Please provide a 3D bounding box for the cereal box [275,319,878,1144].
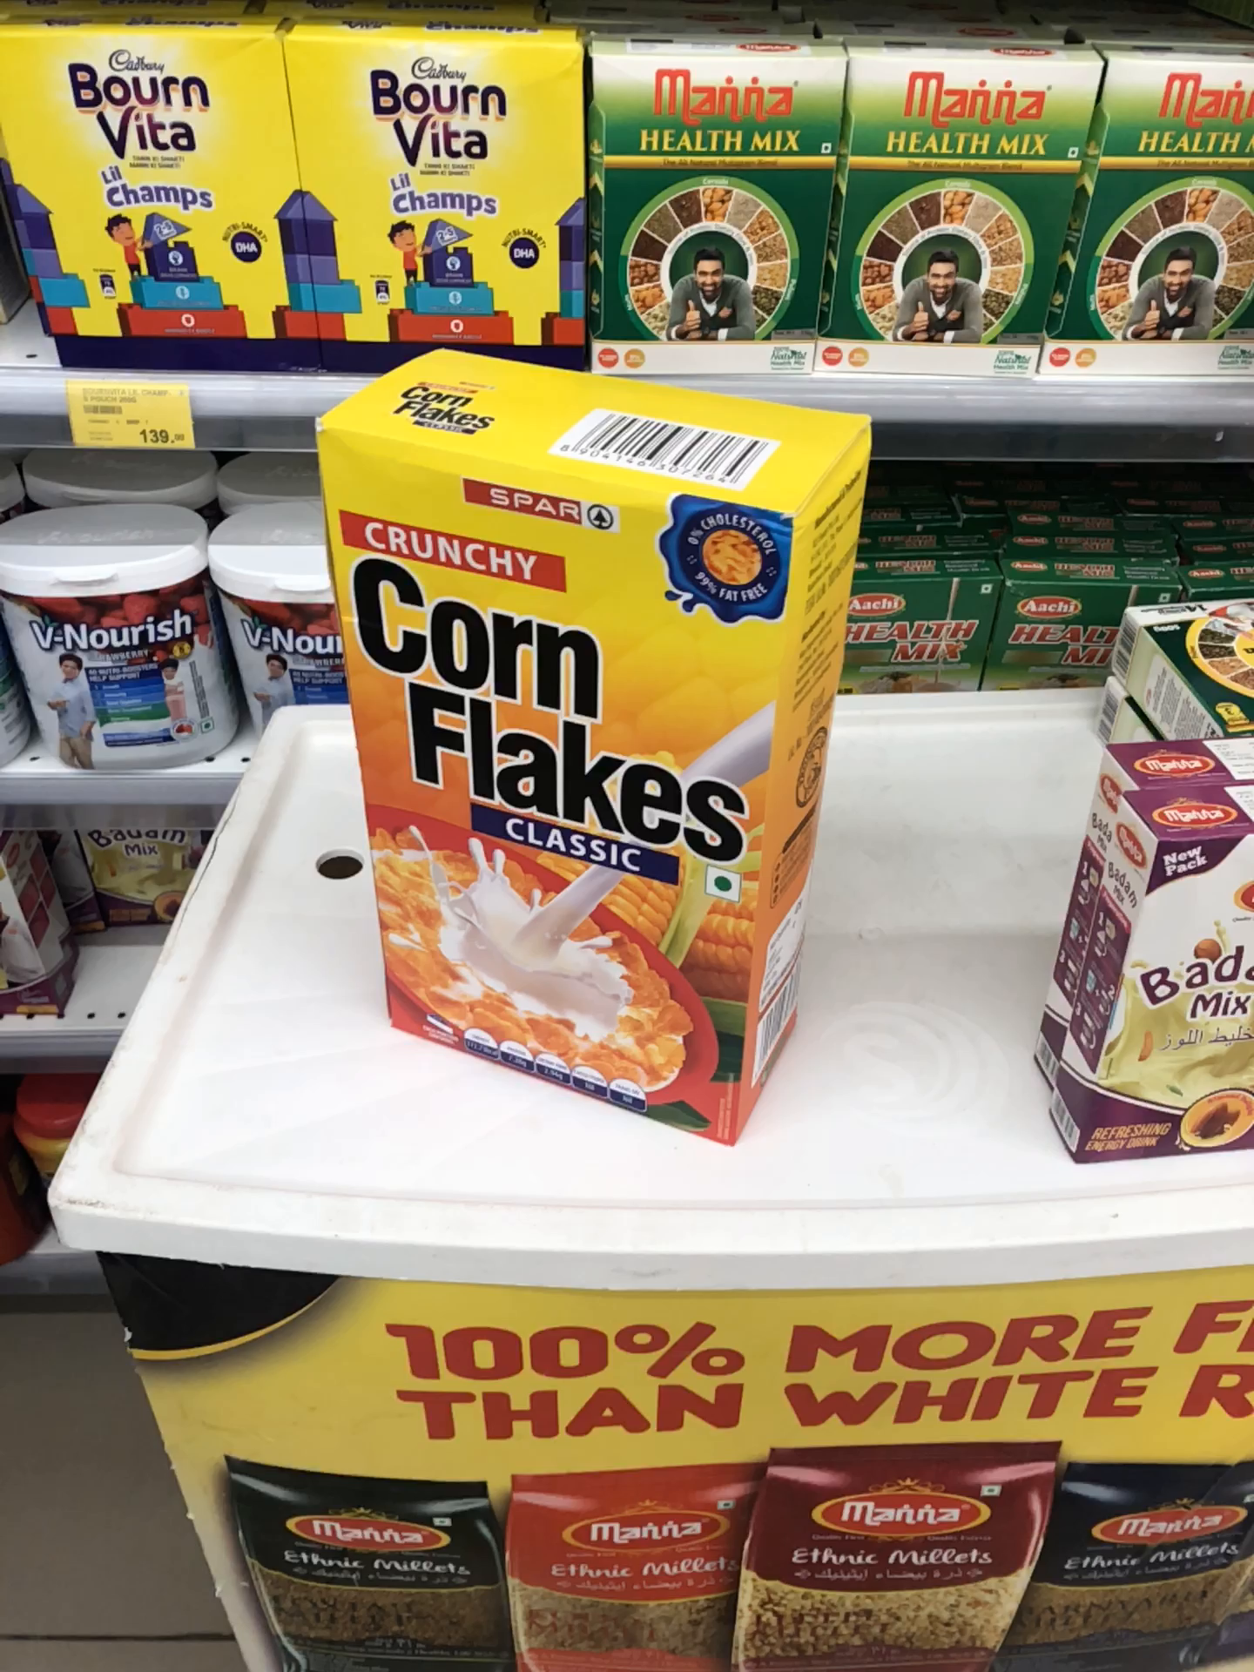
[{"bbox_3d":[-0.020,-0.035,0.603,0.200,0.319,0.090,16,41,19],"label":"cereal box"}]
